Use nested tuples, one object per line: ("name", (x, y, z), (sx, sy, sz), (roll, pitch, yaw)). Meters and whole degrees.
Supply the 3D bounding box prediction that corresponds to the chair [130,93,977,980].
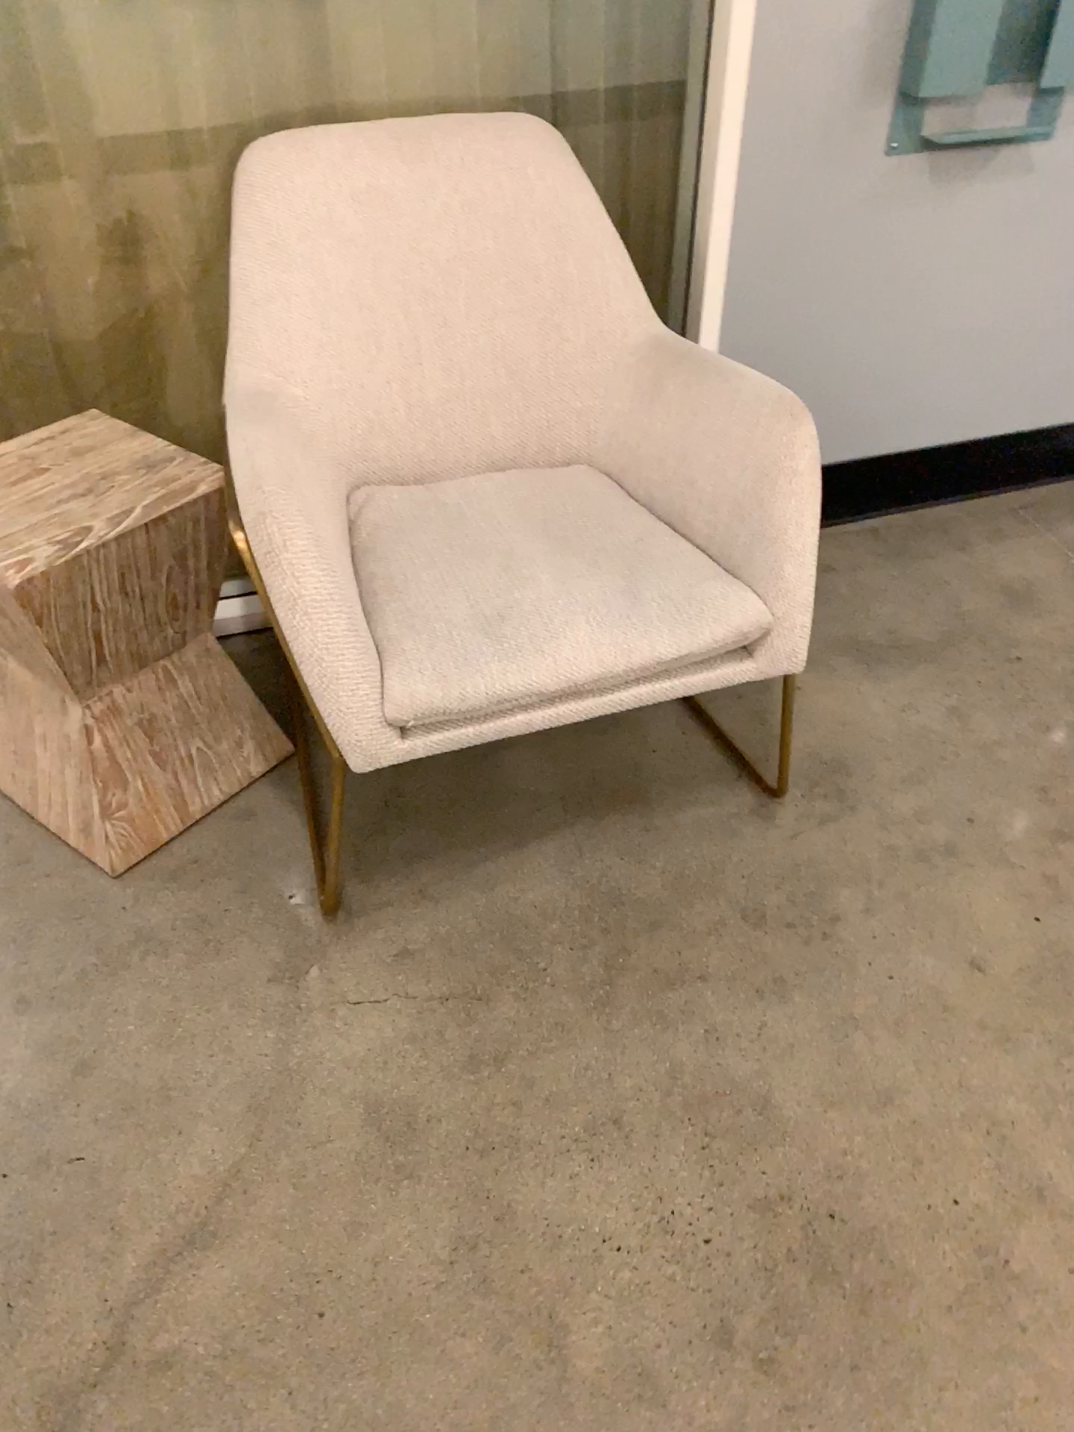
("chair", (-0.069, -0.322, 1.564), (0.750, 0.815, 0.885), (-13, 41, -15))
